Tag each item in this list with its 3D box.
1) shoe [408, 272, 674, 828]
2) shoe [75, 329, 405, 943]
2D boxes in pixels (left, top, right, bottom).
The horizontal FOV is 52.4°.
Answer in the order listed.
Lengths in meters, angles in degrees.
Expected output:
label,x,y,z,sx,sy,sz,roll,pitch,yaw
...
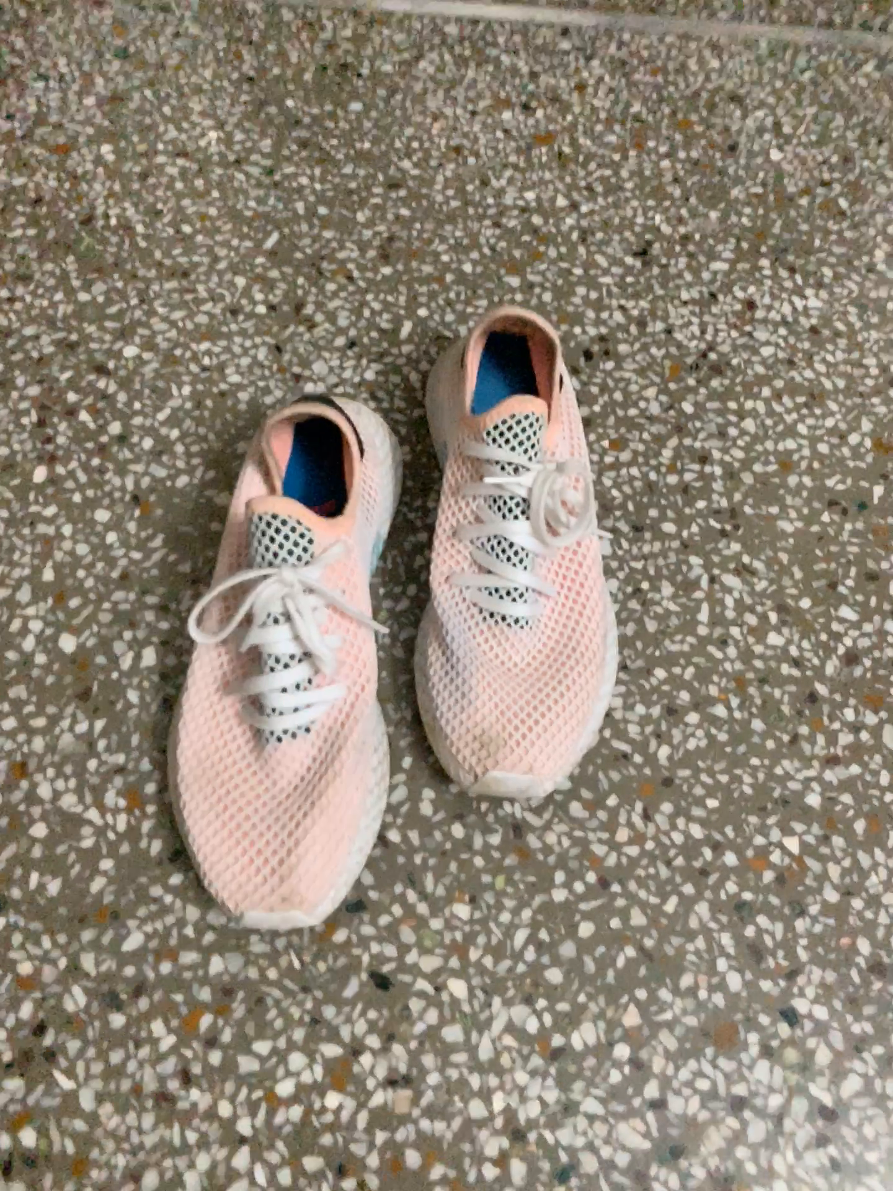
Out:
label,x,y,z,sx,sy,sz,roll,pitch,yaw
shoe,0.040,-0.032,0.527,0.122,0.100,0.309,0,65,-2
shoe,-0.091,0.015,0.488,0.122,0.100,0.309,2,65,-1
